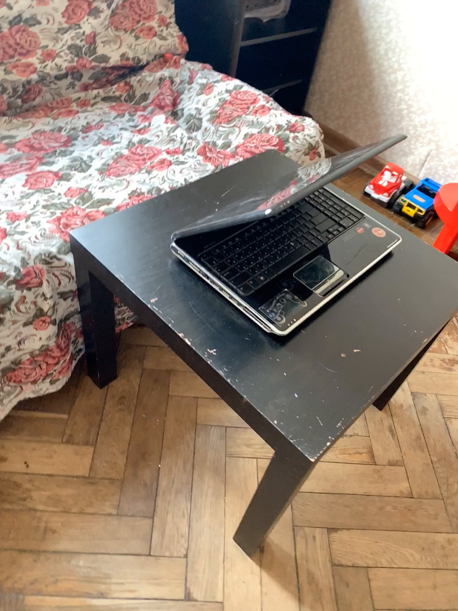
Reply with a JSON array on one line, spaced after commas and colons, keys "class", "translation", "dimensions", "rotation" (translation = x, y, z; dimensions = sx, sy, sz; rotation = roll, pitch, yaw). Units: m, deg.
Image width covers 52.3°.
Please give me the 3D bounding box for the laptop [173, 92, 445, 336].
[{"class": "laptop", "translation": [0.131, -0.176, 0.781], "dimensions": [0.251, 0.177, 0.366], "rotation": [39, 52, 22]}]
